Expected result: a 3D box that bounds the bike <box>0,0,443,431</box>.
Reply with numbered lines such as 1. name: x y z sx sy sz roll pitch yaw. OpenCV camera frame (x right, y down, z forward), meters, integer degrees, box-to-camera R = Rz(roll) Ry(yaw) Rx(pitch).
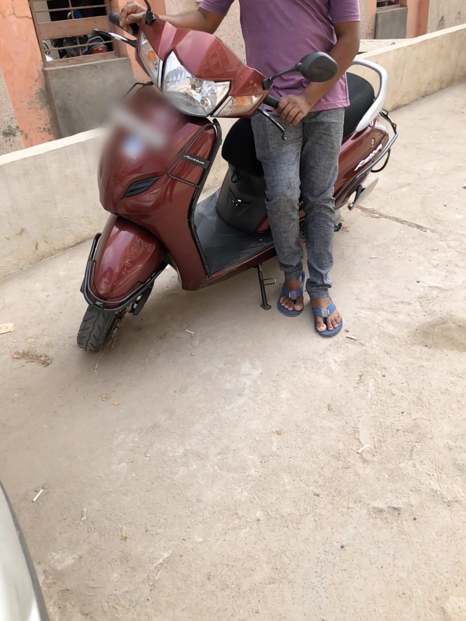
1. bike: 0.060 -0.528 1.979 0.629 1.073 1.585 24 44 38
